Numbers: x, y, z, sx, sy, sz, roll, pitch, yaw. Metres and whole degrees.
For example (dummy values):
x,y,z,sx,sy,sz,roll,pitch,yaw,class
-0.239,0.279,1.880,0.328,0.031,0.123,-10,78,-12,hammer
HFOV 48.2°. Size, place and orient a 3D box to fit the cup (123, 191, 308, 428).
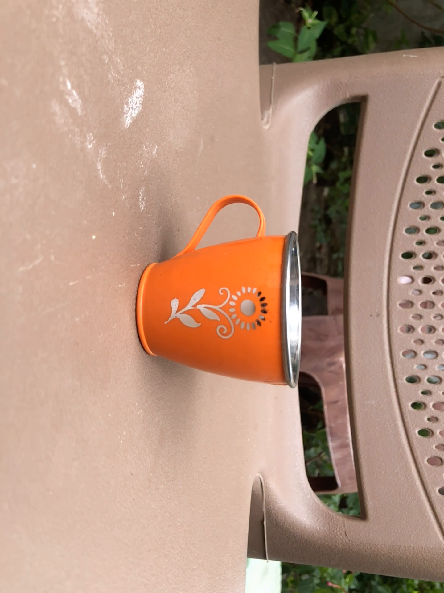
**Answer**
x,y,z,sx,sy,sz,roll,pitch,yaw,class
0.000,0.003,0.201,0.050,0.060,0.080,-11,102,-70,cup
